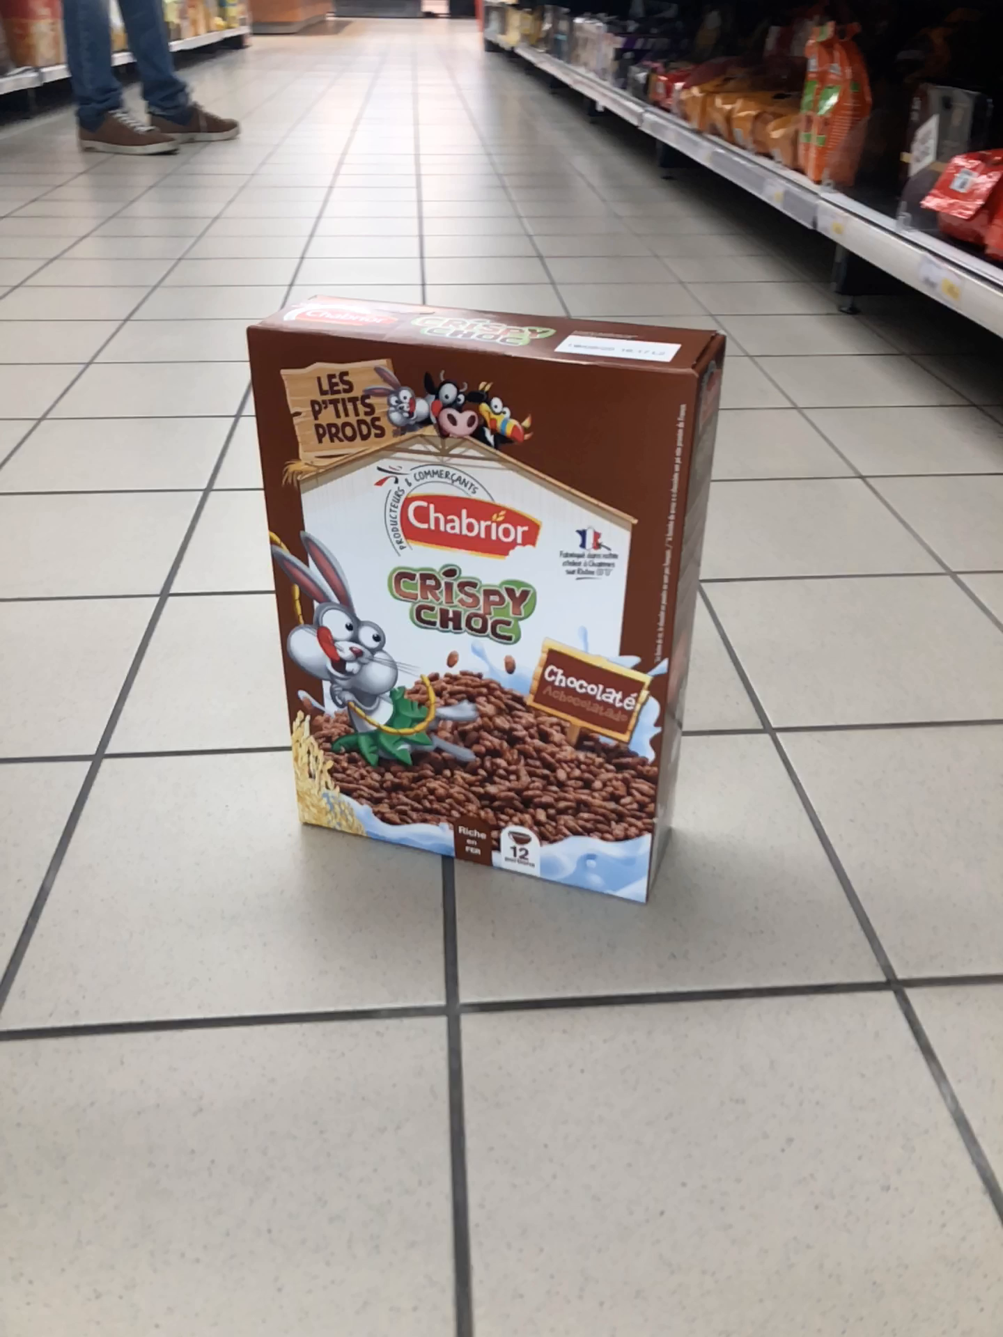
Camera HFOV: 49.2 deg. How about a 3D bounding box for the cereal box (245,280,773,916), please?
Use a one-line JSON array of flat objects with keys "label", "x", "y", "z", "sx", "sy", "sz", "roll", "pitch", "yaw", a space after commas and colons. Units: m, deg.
[{"label": "cereal box", "x": 0.001, "y": -0.031, "z": 0.526, "sx": 0.210, "sy": 0.268, "sz": 0.070, "roll": 11, "pitch": 32, "yaw": 17}]
